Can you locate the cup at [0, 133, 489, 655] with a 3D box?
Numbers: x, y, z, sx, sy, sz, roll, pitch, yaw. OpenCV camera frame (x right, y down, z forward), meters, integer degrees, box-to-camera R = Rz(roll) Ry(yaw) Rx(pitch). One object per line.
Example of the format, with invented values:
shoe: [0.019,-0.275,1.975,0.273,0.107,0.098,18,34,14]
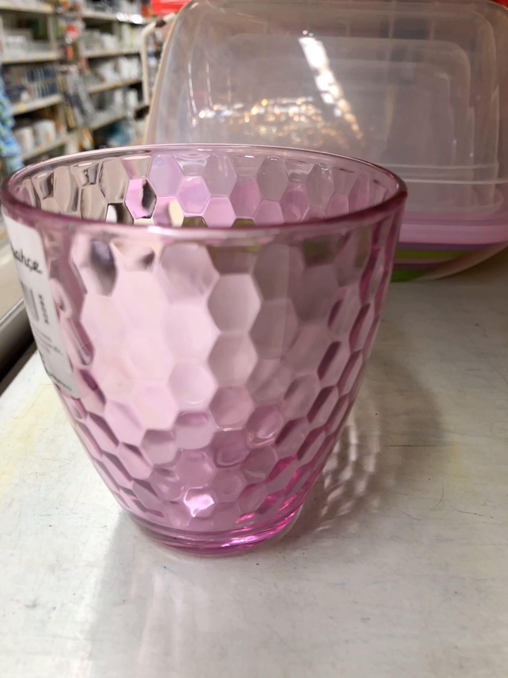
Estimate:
cup: [-0.013,-0.001,0.133,0.078,0.075,0.090,-7,28,-12]
